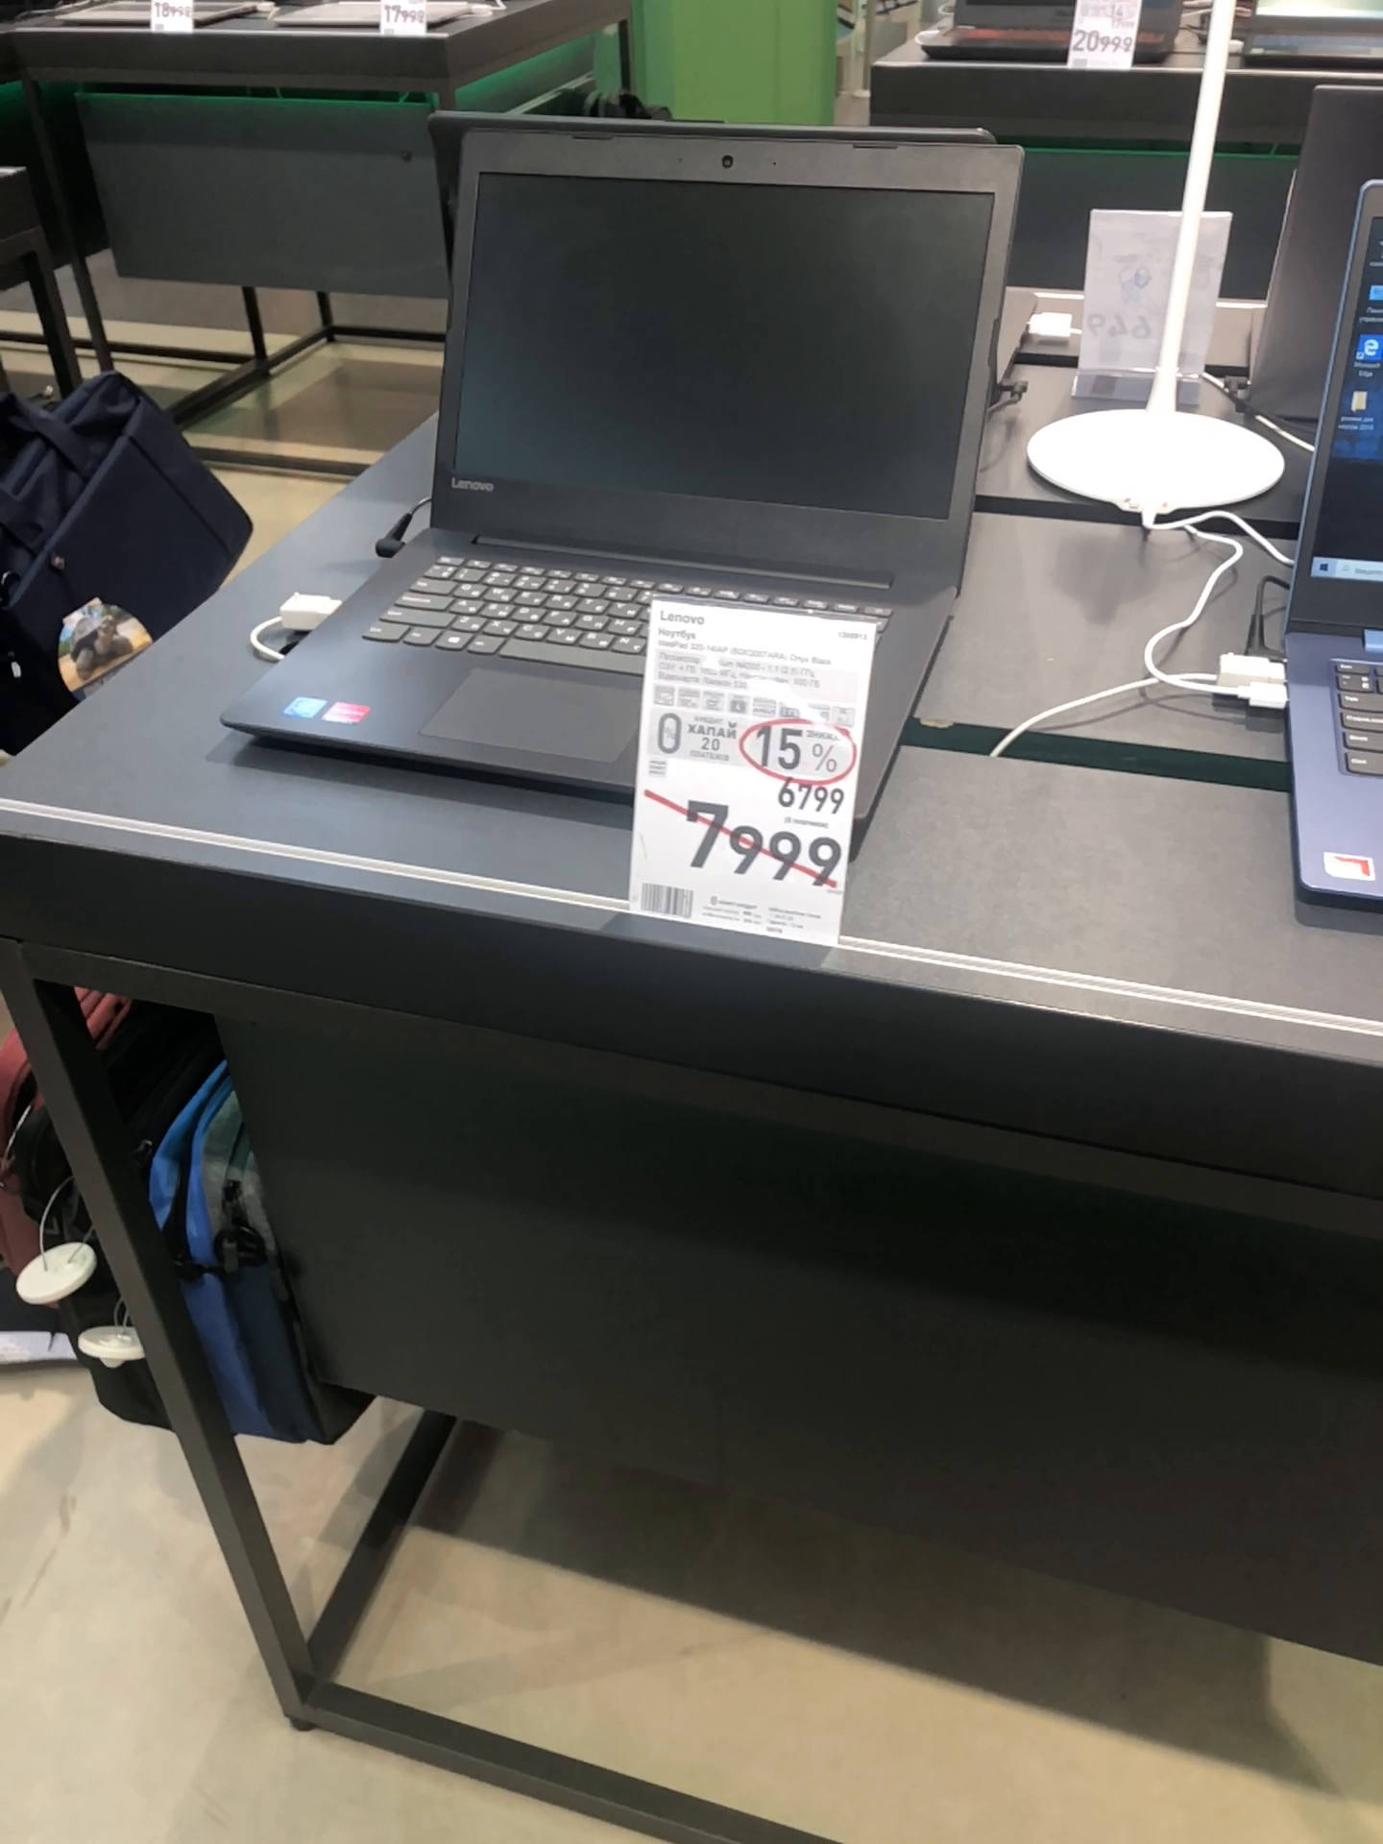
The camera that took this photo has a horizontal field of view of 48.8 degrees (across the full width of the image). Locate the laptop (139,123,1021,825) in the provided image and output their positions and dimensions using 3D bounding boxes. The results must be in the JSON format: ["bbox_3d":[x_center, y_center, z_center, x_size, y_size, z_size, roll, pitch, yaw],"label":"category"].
[{"bbox_3d":[-0.026,-0.266,0.817,0.330,0.205,0.363,10,40,15],"label":"laptop"}]
